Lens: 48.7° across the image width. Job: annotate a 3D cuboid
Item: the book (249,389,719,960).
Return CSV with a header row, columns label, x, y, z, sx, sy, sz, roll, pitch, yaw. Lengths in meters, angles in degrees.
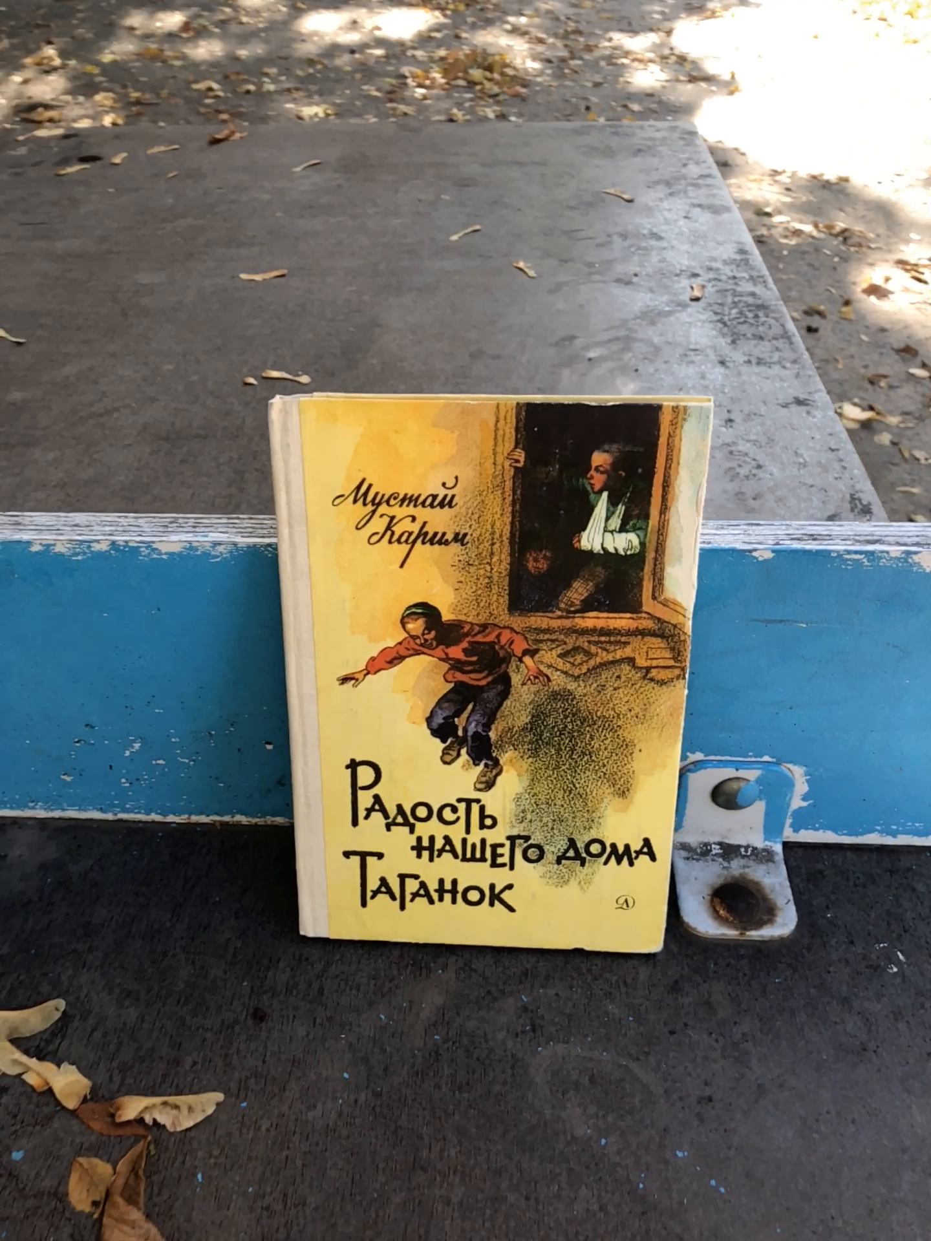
label,x,y,z,sx,sy,sz,roll,pitch,yaw
book,0.006,0.026,0.384,0.155,0.218,0.020,1,19,4
